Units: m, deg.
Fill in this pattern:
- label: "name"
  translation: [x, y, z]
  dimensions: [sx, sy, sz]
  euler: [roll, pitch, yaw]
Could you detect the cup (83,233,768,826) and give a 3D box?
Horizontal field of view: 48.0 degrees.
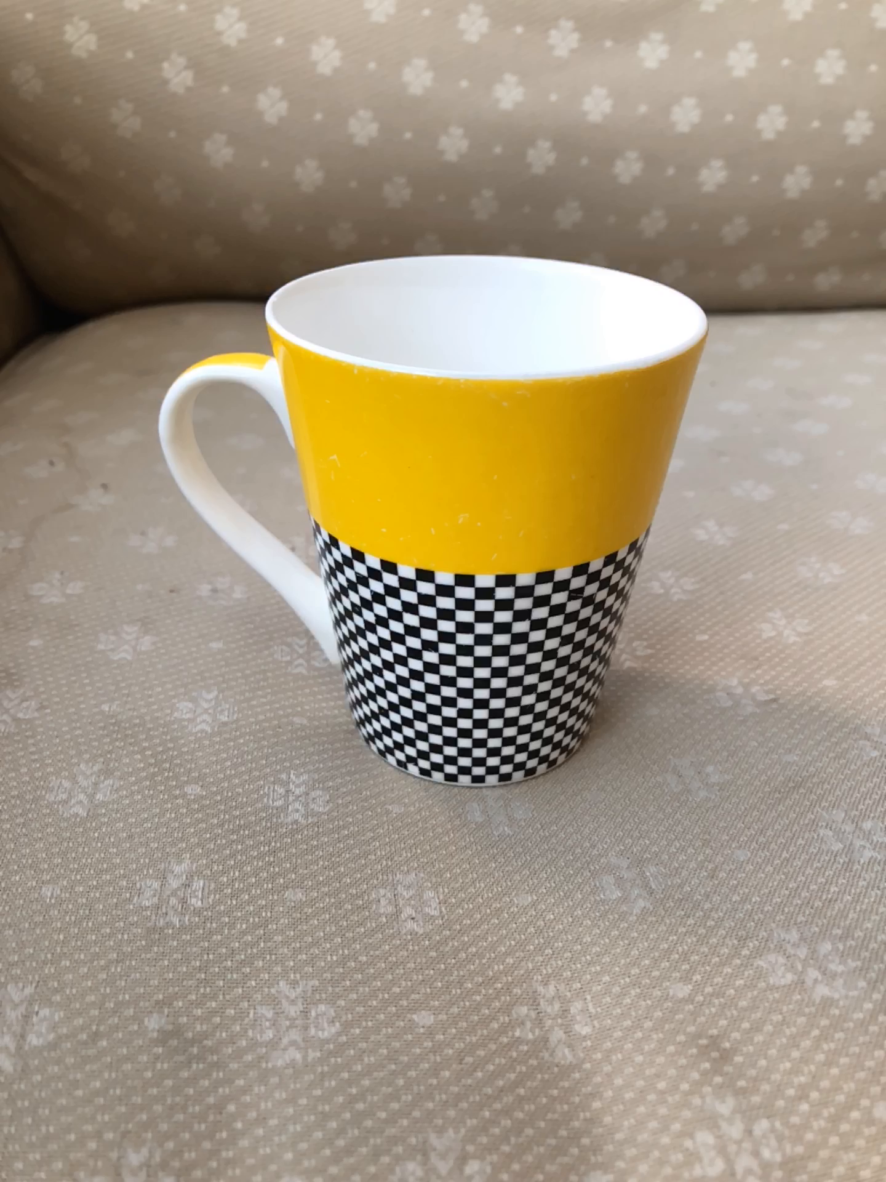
- label: "cup"
  translation: [0.000, -0.019, 0.220]
  dimensions: [0.111, 0.090, 0.088]
  euler: [6, 31, 6]
